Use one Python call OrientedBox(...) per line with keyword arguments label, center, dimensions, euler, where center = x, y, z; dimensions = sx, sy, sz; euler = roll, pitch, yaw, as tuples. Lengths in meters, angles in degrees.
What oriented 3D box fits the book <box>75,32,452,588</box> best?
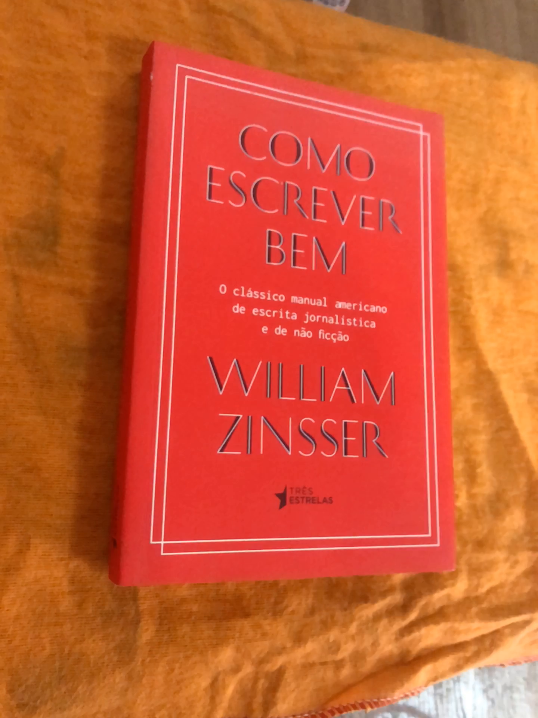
OrientedBox(label="book", center=(0.005, -0.017, 0.239), dimensions=(0.140, 0.020, 0.195), euler=(5, 80, -19))
